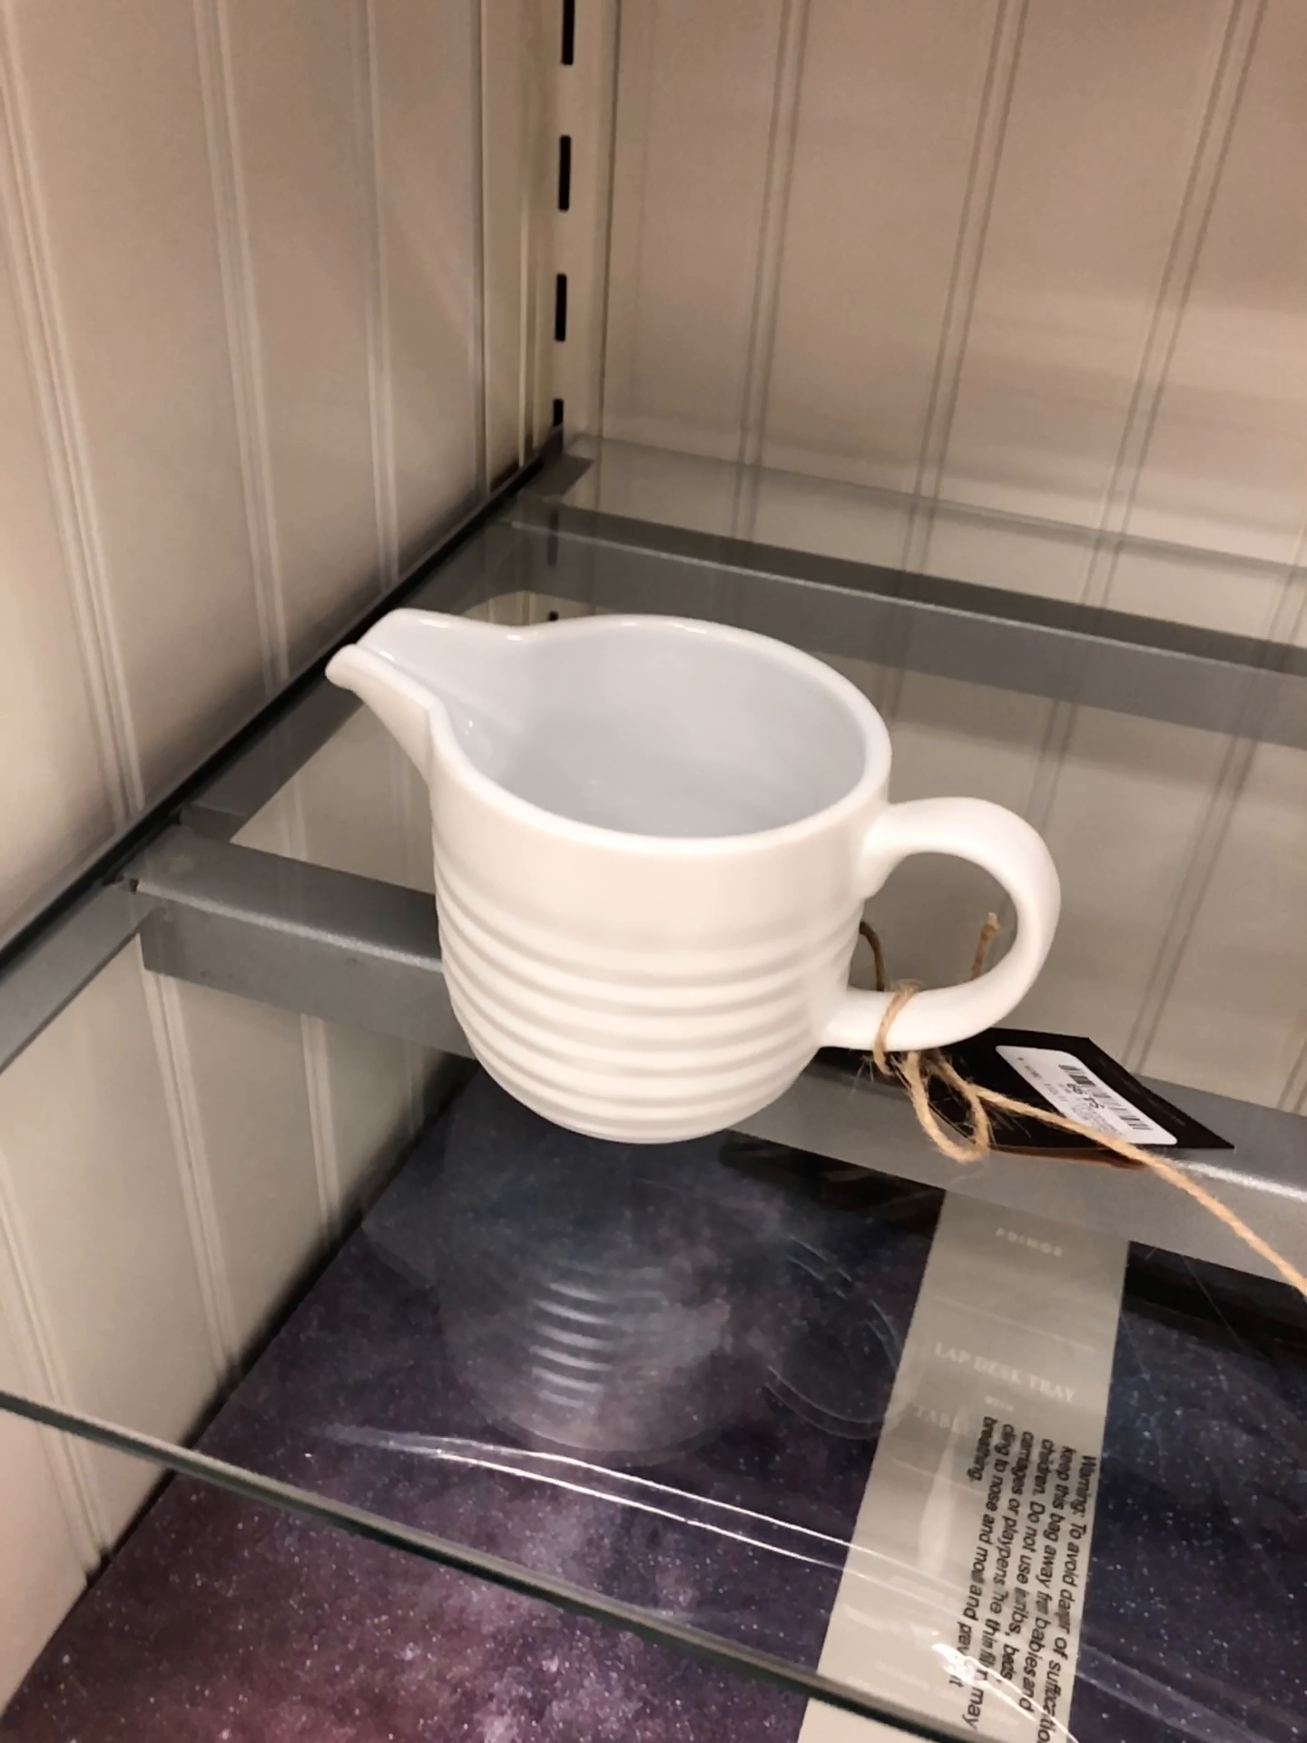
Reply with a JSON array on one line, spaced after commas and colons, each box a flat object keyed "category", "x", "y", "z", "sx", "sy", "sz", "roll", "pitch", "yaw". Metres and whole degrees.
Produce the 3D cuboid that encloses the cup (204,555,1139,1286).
[{"category": "cup", "x": 0.004, "y": 0.003, "z": 0.261, "sx": 0.140, "sy": 0.069, "sz": 0.071, "roll": 15, "pitch": 38, "yaw": 14}]
